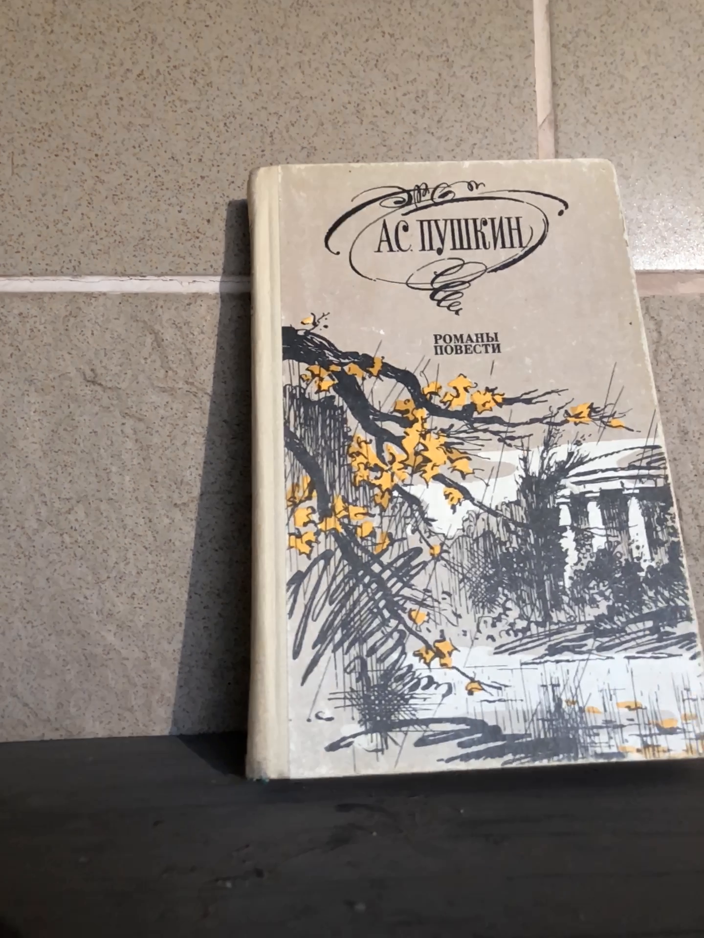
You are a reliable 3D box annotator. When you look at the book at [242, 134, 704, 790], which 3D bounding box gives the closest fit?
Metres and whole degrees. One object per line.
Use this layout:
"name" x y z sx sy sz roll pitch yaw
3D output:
"book" 0.032 -0.011 0.244 0.130 0.199 0.020 -2 -14 -2
